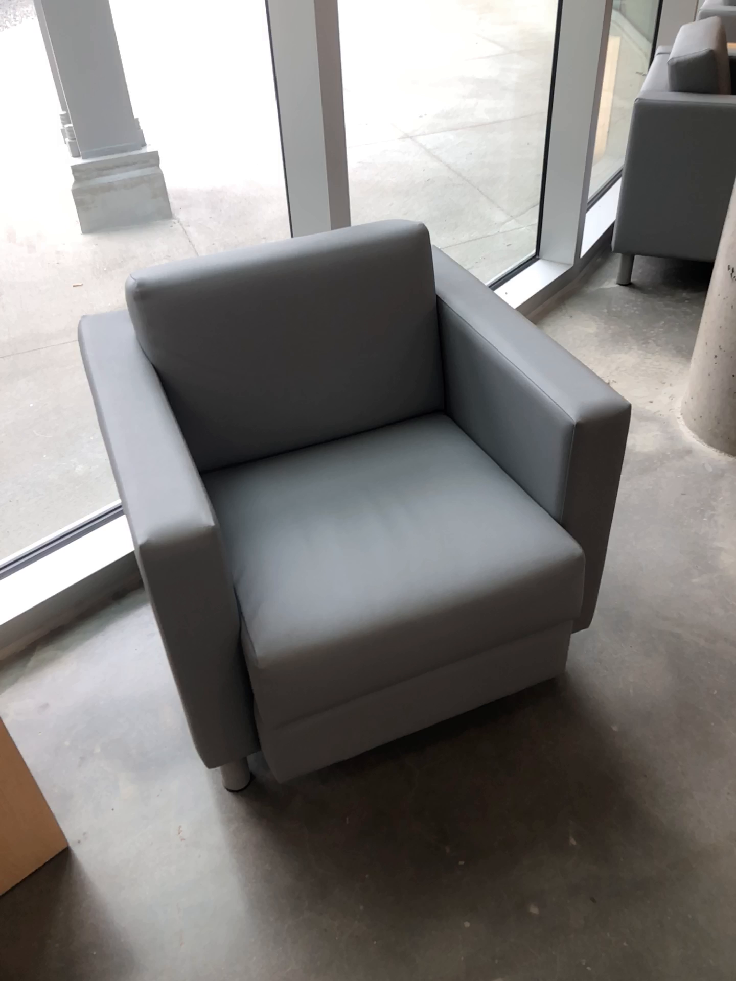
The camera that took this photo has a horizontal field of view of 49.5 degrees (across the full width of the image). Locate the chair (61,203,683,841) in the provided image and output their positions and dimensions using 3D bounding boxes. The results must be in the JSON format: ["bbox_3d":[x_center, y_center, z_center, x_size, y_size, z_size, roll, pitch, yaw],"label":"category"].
[{"bbox_3d":[-0.049,-0.008,1.518,0.770,0.695,0.785,-16,41,-16],"label":"chair"}]
